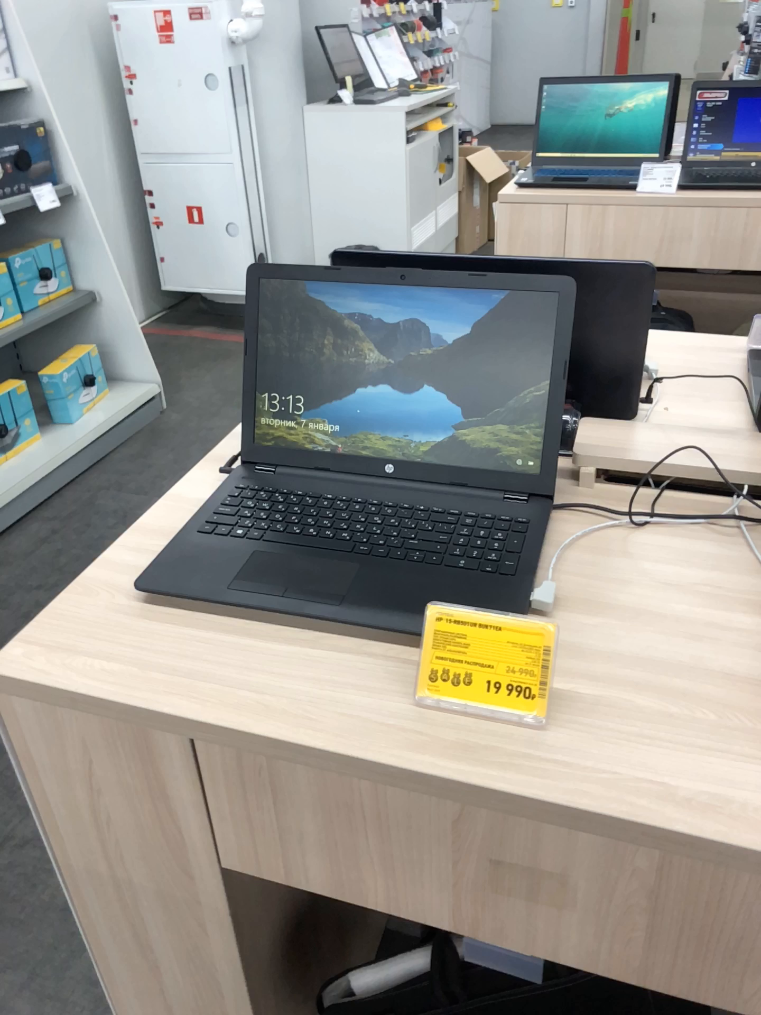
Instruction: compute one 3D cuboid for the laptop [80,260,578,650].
[{"bbox_3d":[-0.019,-0.085,0.845,0.376,0.217,0.343,7,33,17],"label":"laptop"}]
